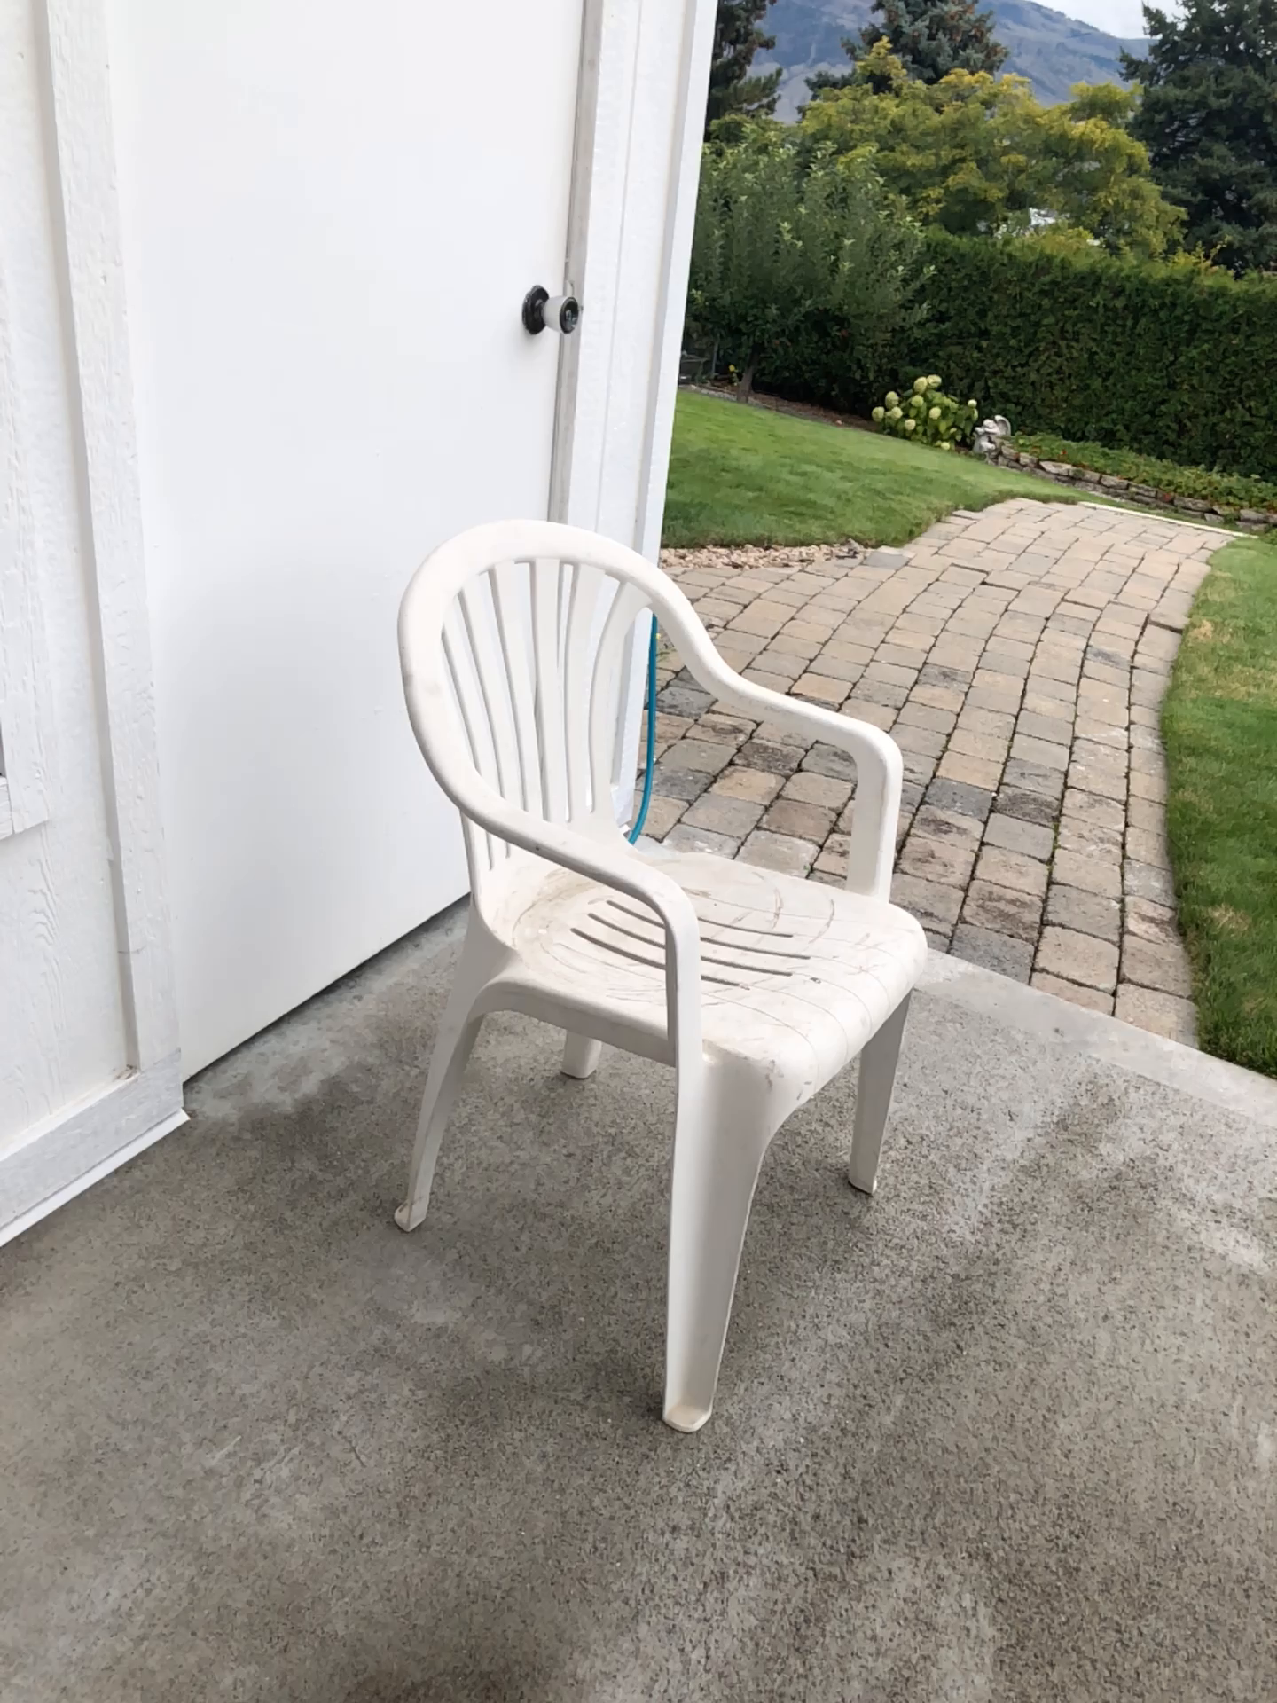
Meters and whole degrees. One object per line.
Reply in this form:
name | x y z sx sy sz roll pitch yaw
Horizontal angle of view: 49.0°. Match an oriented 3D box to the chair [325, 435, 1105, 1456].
chair | 0.069 0.044 1.490 0.510 0.777 0.602 21 31 24
